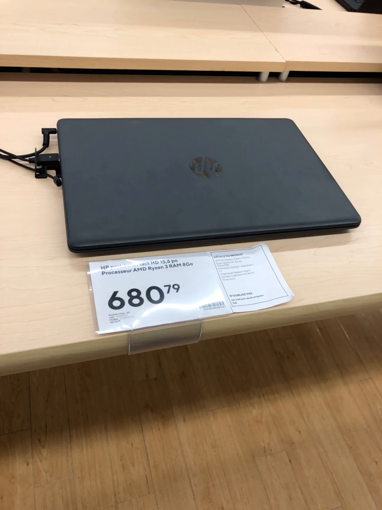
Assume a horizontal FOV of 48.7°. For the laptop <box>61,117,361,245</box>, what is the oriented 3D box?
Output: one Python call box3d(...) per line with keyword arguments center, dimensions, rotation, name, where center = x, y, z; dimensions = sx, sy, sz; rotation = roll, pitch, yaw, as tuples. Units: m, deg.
box3d(center=(0.020, -0.123, 0.590), dimensions=(0.374, 0.005, 0.245), rotation=(-6, 50, -17), name="laptop")
